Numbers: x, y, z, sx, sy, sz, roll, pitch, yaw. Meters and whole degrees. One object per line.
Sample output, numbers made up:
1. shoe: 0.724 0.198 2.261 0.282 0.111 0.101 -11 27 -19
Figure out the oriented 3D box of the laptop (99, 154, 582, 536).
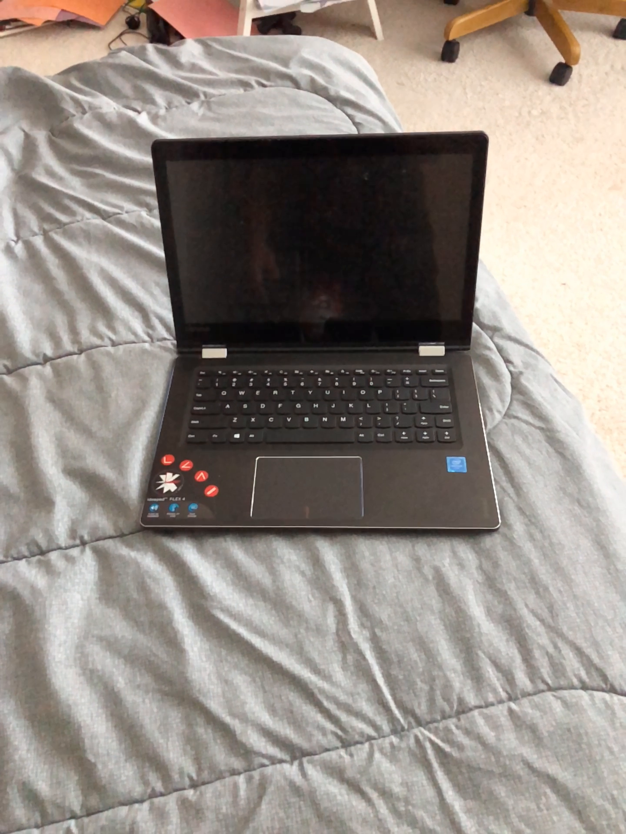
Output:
1. laptop: 0.027 -0.082 0.715 0.361 0.214 0.352 0 52 2
